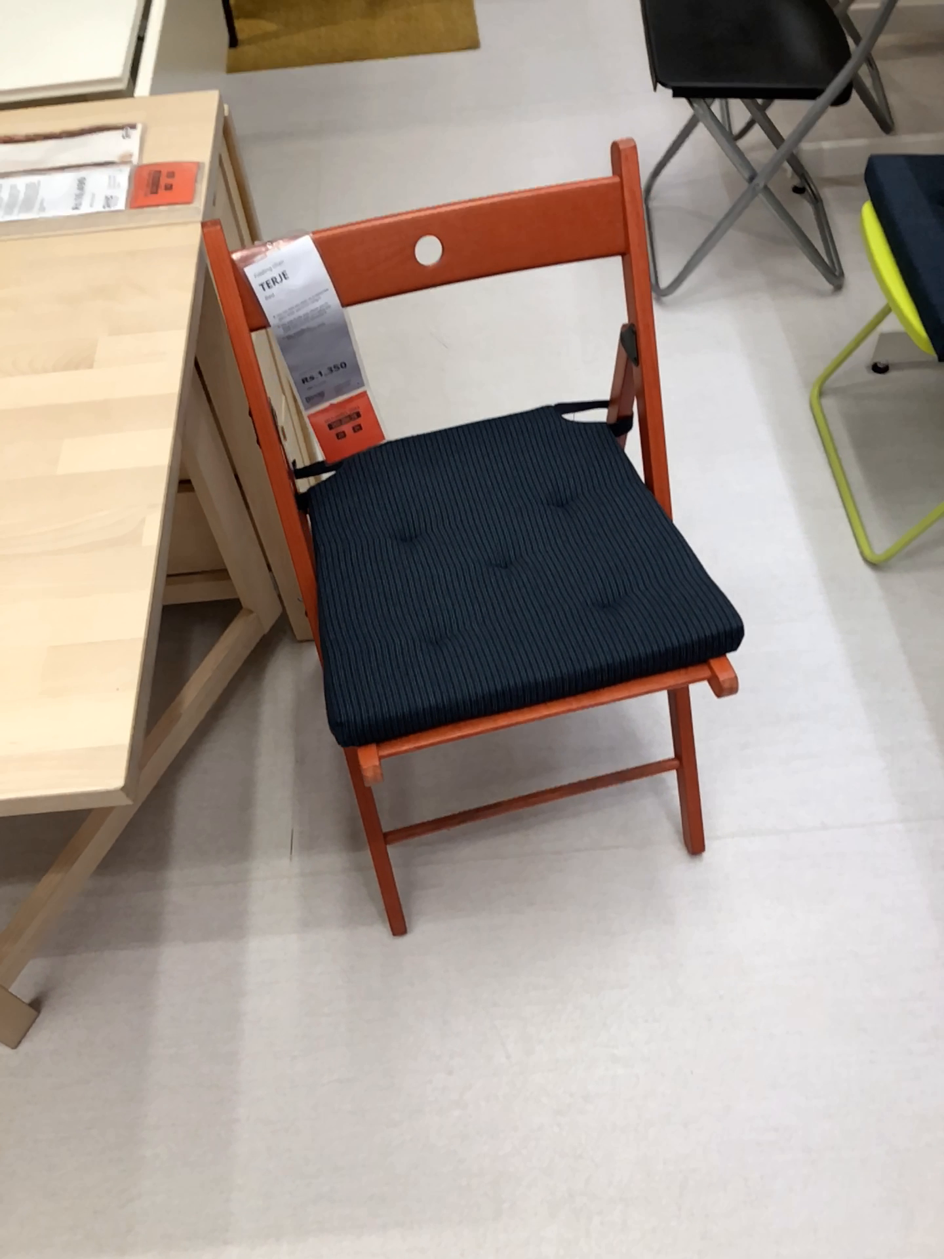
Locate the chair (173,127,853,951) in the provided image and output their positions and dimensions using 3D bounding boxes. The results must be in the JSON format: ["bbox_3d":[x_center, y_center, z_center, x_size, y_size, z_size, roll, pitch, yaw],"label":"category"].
[{"bbox_3d":[0.015,-0.053,1.174,0.470,0.716,0.503,-13,54,-5],"label":"chair"}]
